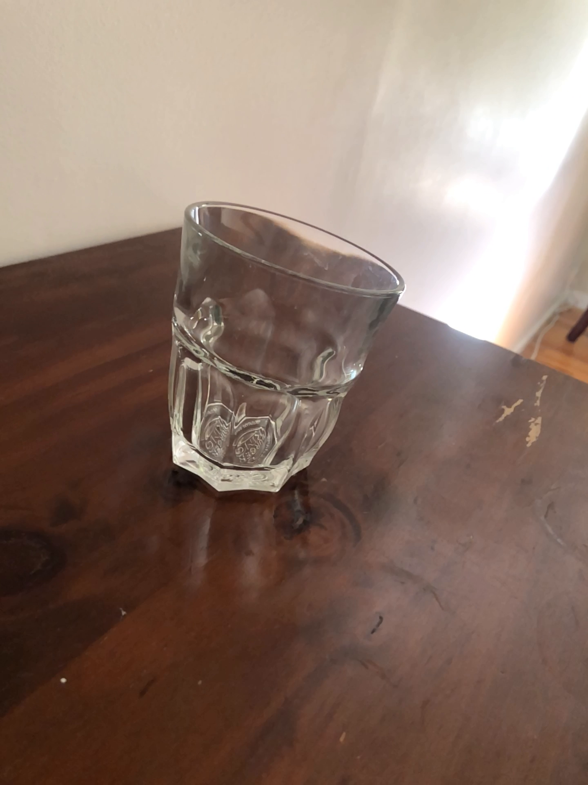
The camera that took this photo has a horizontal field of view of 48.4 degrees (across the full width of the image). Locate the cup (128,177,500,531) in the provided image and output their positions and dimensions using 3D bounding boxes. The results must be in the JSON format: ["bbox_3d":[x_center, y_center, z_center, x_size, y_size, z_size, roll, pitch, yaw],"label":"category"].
[{"bbox_3d":[-0.001,-0.020,0.260,0.101,0.095,0.090,-5,34,-28],"label":"cup"}]
